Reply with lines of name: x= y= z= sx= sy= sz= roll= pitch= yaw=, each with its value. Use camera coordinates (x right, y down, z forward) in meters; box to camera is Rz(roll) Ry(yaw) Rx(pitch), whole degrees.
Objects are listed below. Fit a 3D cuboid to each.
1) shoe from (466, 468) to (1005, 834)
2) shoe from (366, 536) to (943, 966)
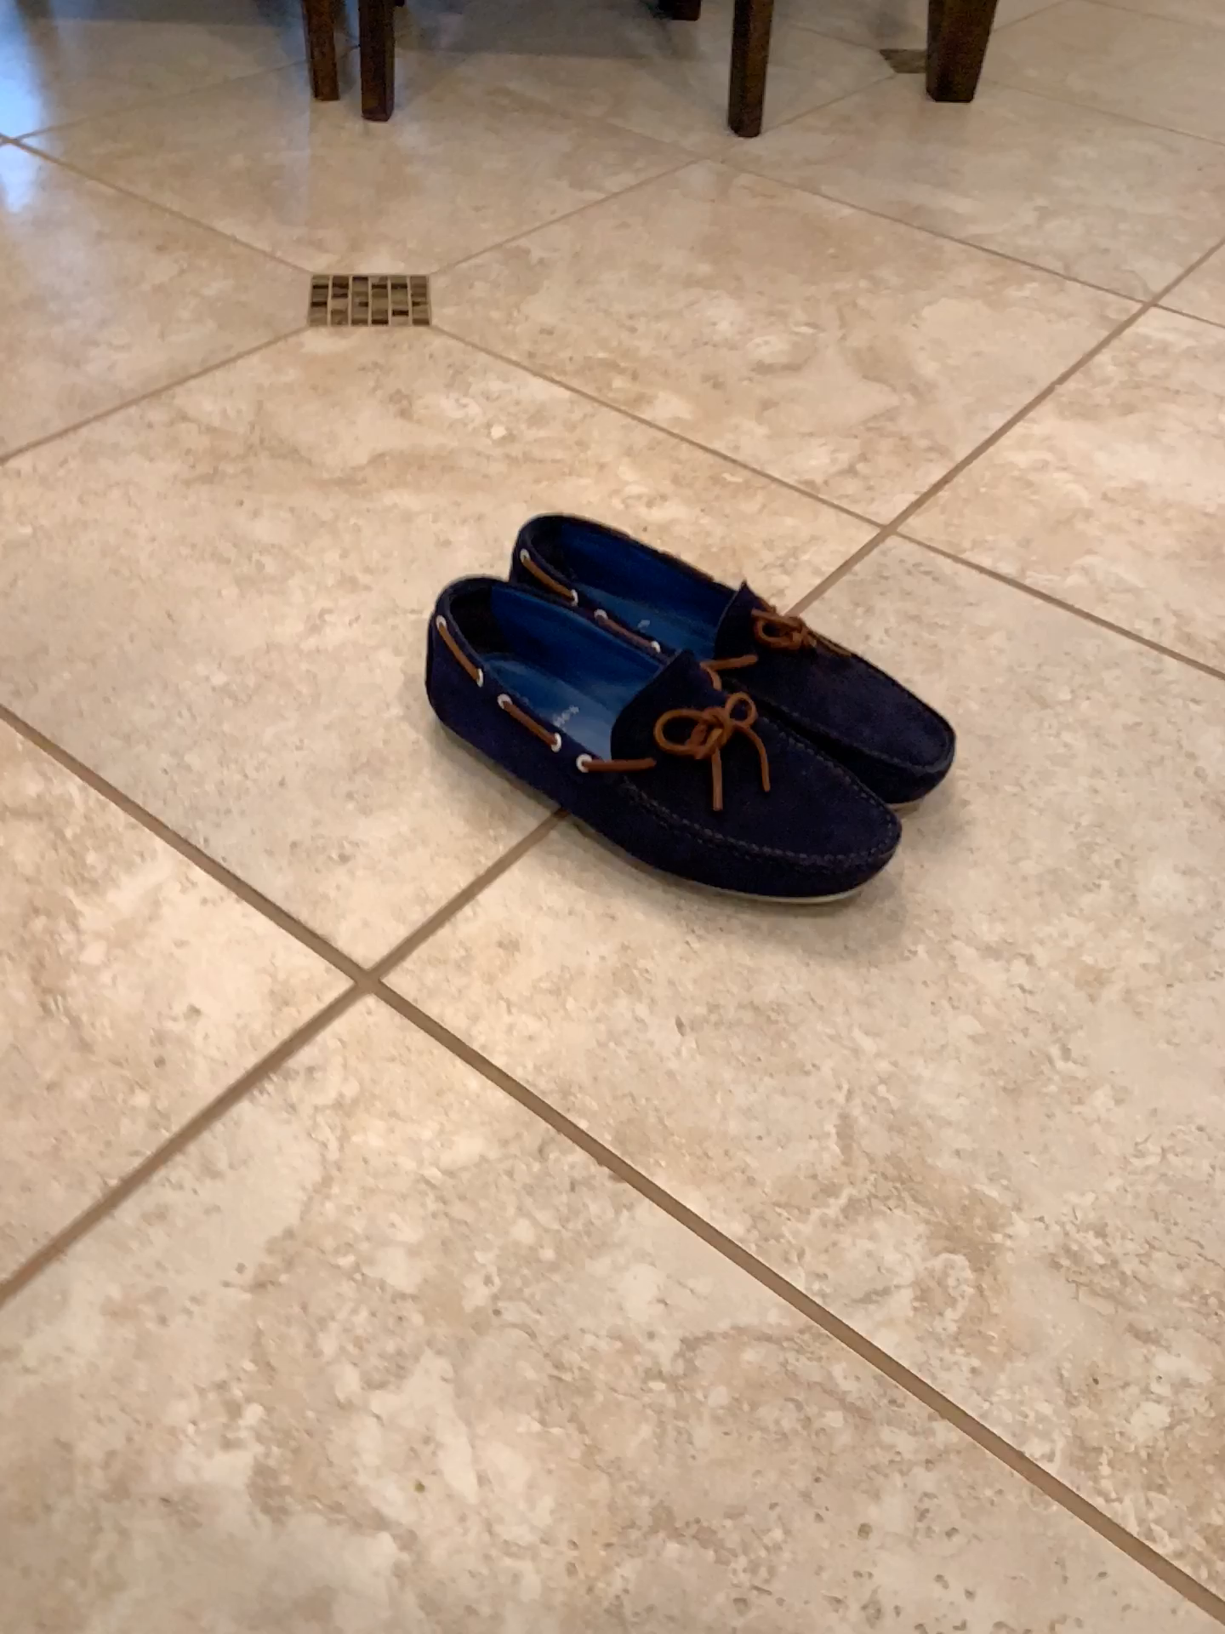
shoe: x=0.063 y=-0.101 z=0.714 sx=0.281 sy=0.074 sz=0.099 roll=24 pitch=48 yaw=17
shoe: x=0.014 y=-0.043 z=0.656 sx=0.281 sy=0.074 sz=0.099 roll=28 pitch=50 yaw=20
